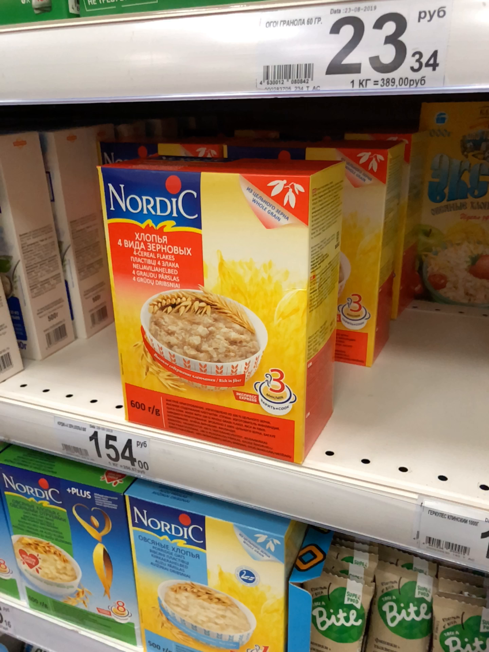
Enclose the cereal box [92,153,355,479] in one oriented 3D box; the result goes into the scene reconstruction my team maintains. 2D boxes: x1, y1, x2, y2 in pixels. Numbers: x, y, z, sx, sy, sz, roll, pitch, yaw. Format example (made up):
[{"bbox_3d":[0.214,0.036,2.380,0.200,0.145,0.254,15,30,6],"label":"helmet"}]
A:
[{"bbox_3d":[-0.011,-0.015,0.388,0.150,0.199,0.080,8,24,22],"label":"cereal box"}]
